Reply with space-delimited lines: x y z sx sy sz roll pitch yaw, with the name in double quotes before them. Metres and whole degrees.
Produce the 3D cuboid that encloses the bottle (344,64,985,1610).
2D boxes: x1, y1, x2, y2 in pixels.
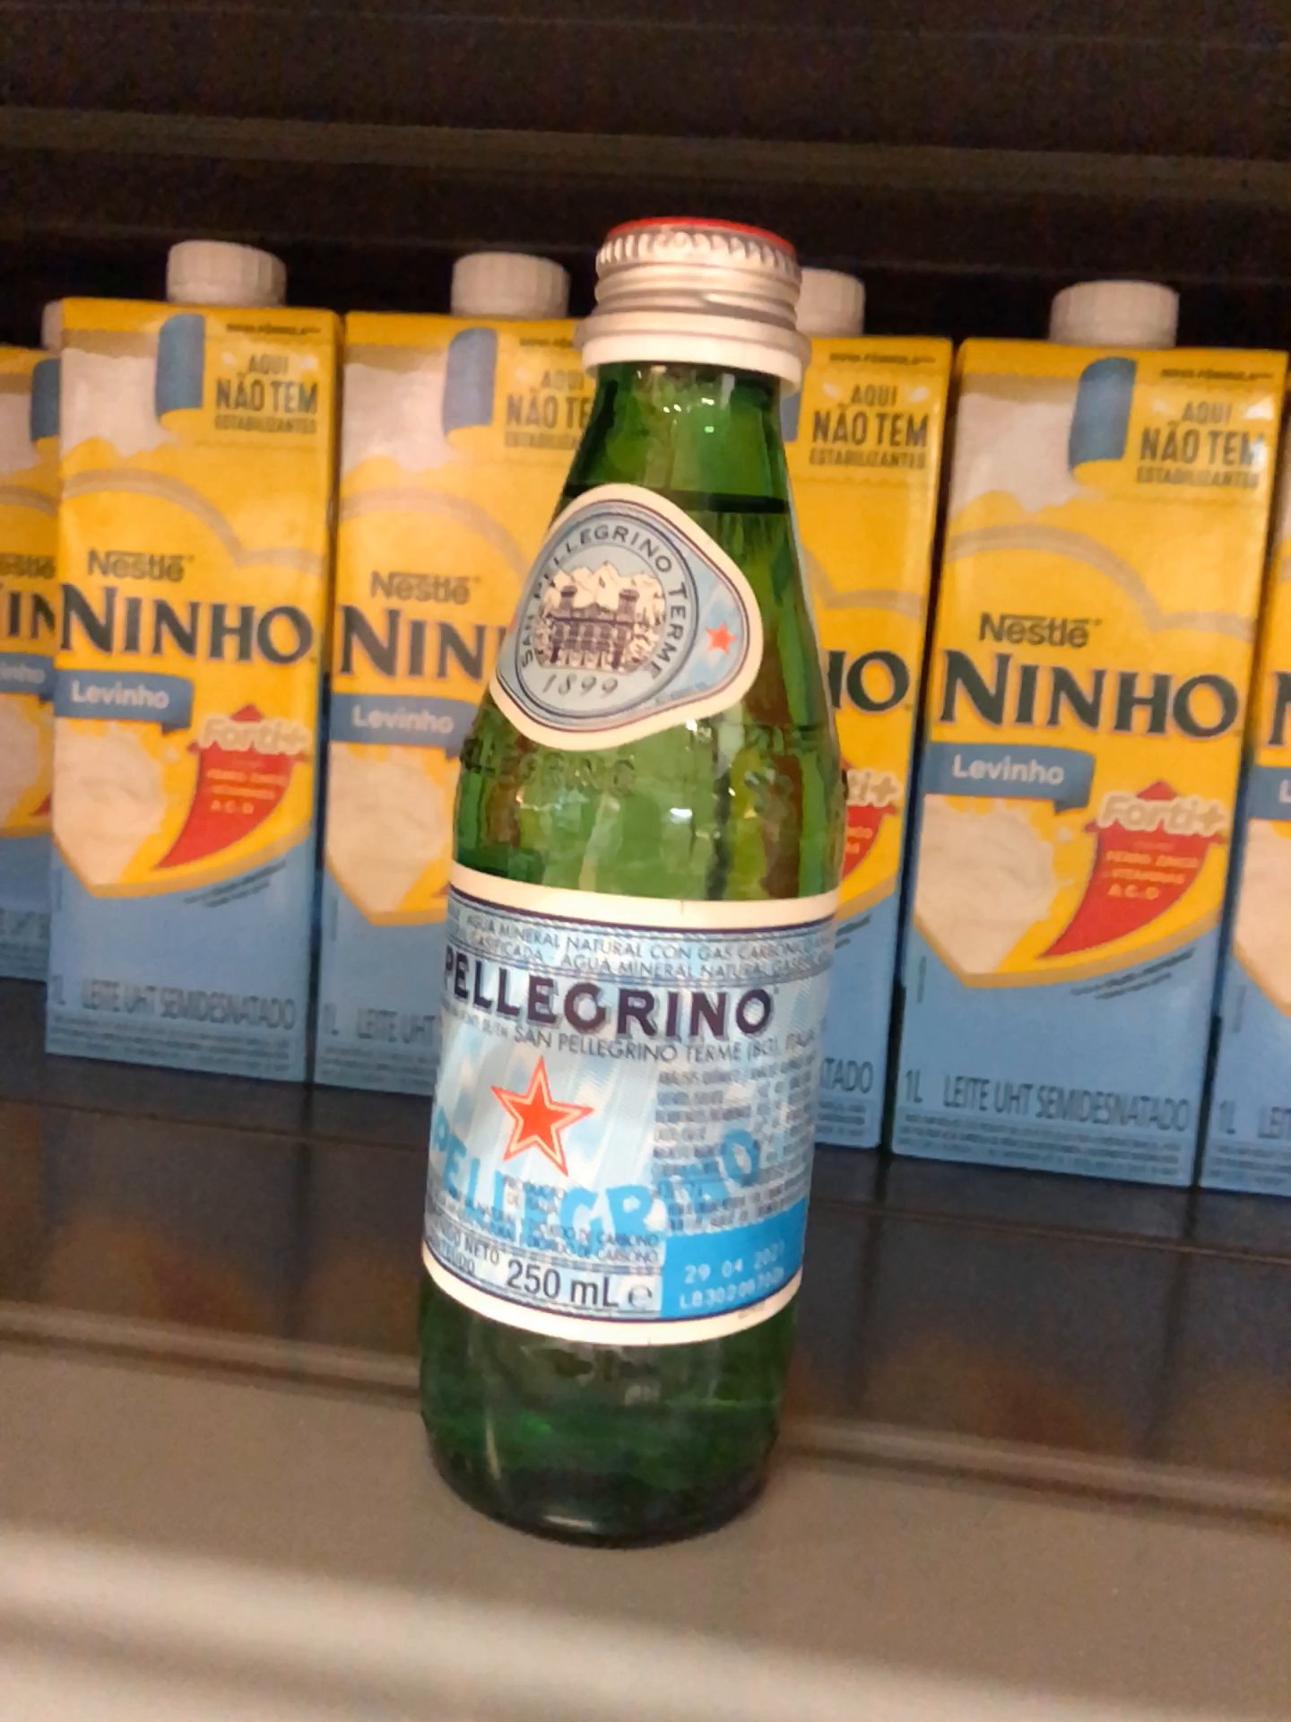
"bottle" 0.003 -0.003 0.204 0.060 0.179 0.060 4 9 -1
